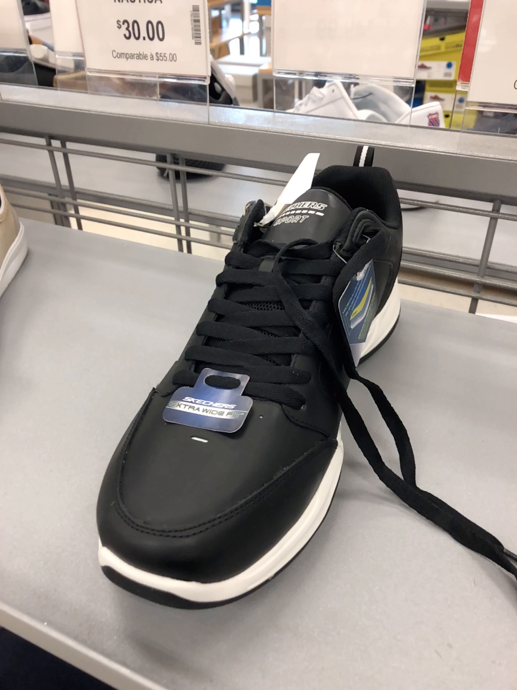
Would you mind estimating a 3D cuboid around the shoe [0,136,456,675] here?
[{"bbox_3d":[0.016,-0.018,0.357,0.130,0.109,0.352,15,39,21],"label":"shoe"}]
